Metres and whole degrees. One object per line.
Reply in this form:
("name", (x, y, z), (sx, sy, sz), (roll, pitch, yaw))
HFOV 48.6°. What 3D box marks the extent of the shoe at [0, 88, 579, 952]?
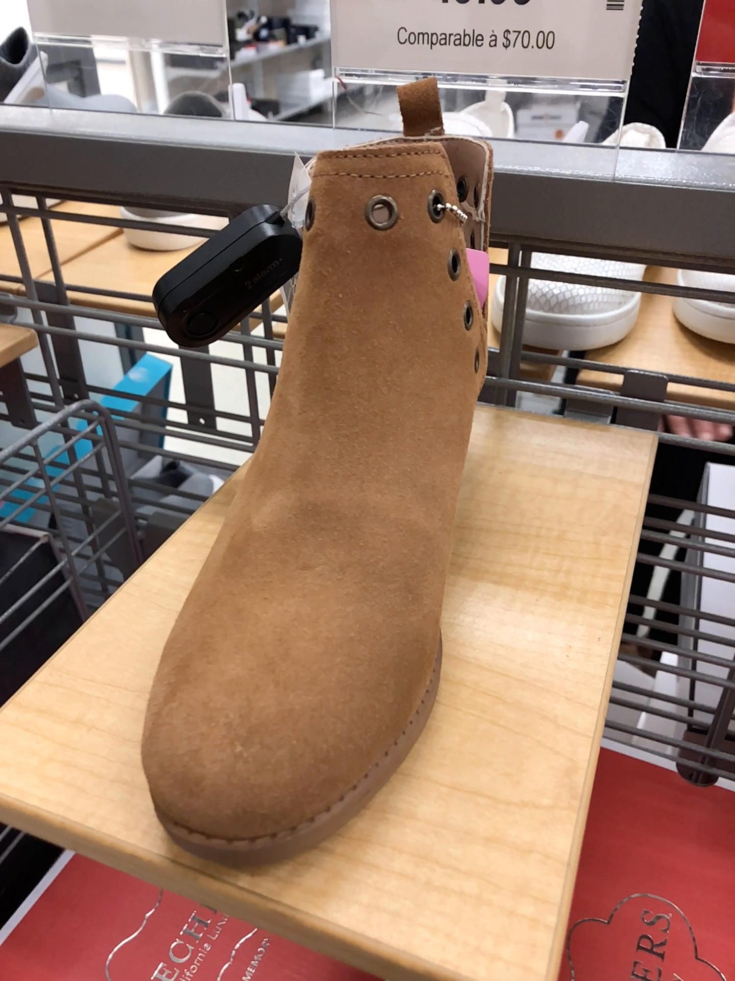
("shoe", (-0.002, -0.036, 0.266), (0.092, 0.129, 0.282), (10, 36, 15))
